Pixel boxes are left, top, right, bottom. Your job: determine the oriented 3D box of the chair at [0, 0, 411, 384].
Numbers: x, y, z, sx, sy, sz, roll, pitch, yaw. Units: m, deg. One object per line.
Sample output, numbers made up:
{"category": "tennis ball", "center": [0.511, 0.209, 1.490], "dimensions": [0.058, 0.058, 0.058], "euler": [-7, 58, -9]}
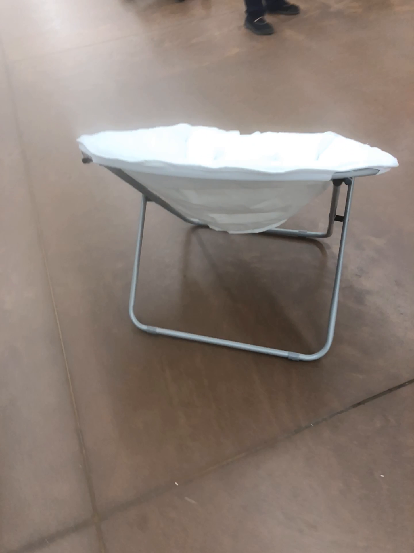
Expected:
{"category": "chair", "center": [0.068, -0.272, 1.252], "dimensions": [0.760, 0.648, 0.752], "euler": [8, 49, 14]}
